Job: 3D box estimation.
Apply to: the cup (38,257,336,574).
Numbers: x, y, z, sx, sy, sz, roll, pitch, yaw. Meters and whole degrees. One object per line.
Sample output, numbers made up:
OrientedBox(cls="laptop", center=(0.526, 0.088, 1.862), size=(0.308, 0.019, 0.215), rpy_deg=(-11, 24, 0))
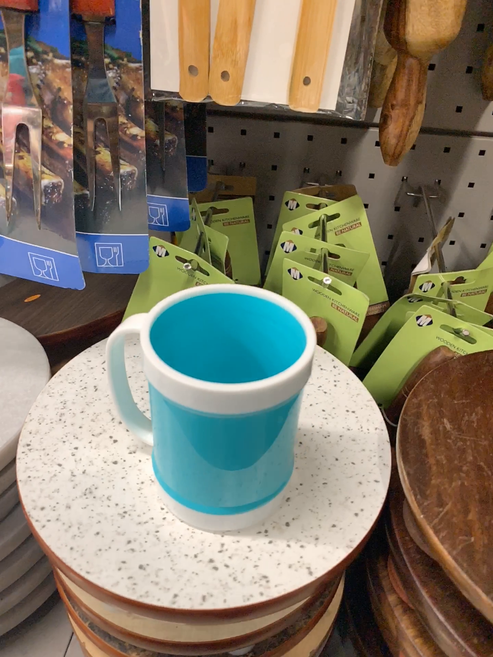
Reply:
OrientedBox(cls="cup", center=(-0.025, 0.041, 0.261), size=(0.110, 0.110, 0.080), rpy_deg=(15, 37, 15))
